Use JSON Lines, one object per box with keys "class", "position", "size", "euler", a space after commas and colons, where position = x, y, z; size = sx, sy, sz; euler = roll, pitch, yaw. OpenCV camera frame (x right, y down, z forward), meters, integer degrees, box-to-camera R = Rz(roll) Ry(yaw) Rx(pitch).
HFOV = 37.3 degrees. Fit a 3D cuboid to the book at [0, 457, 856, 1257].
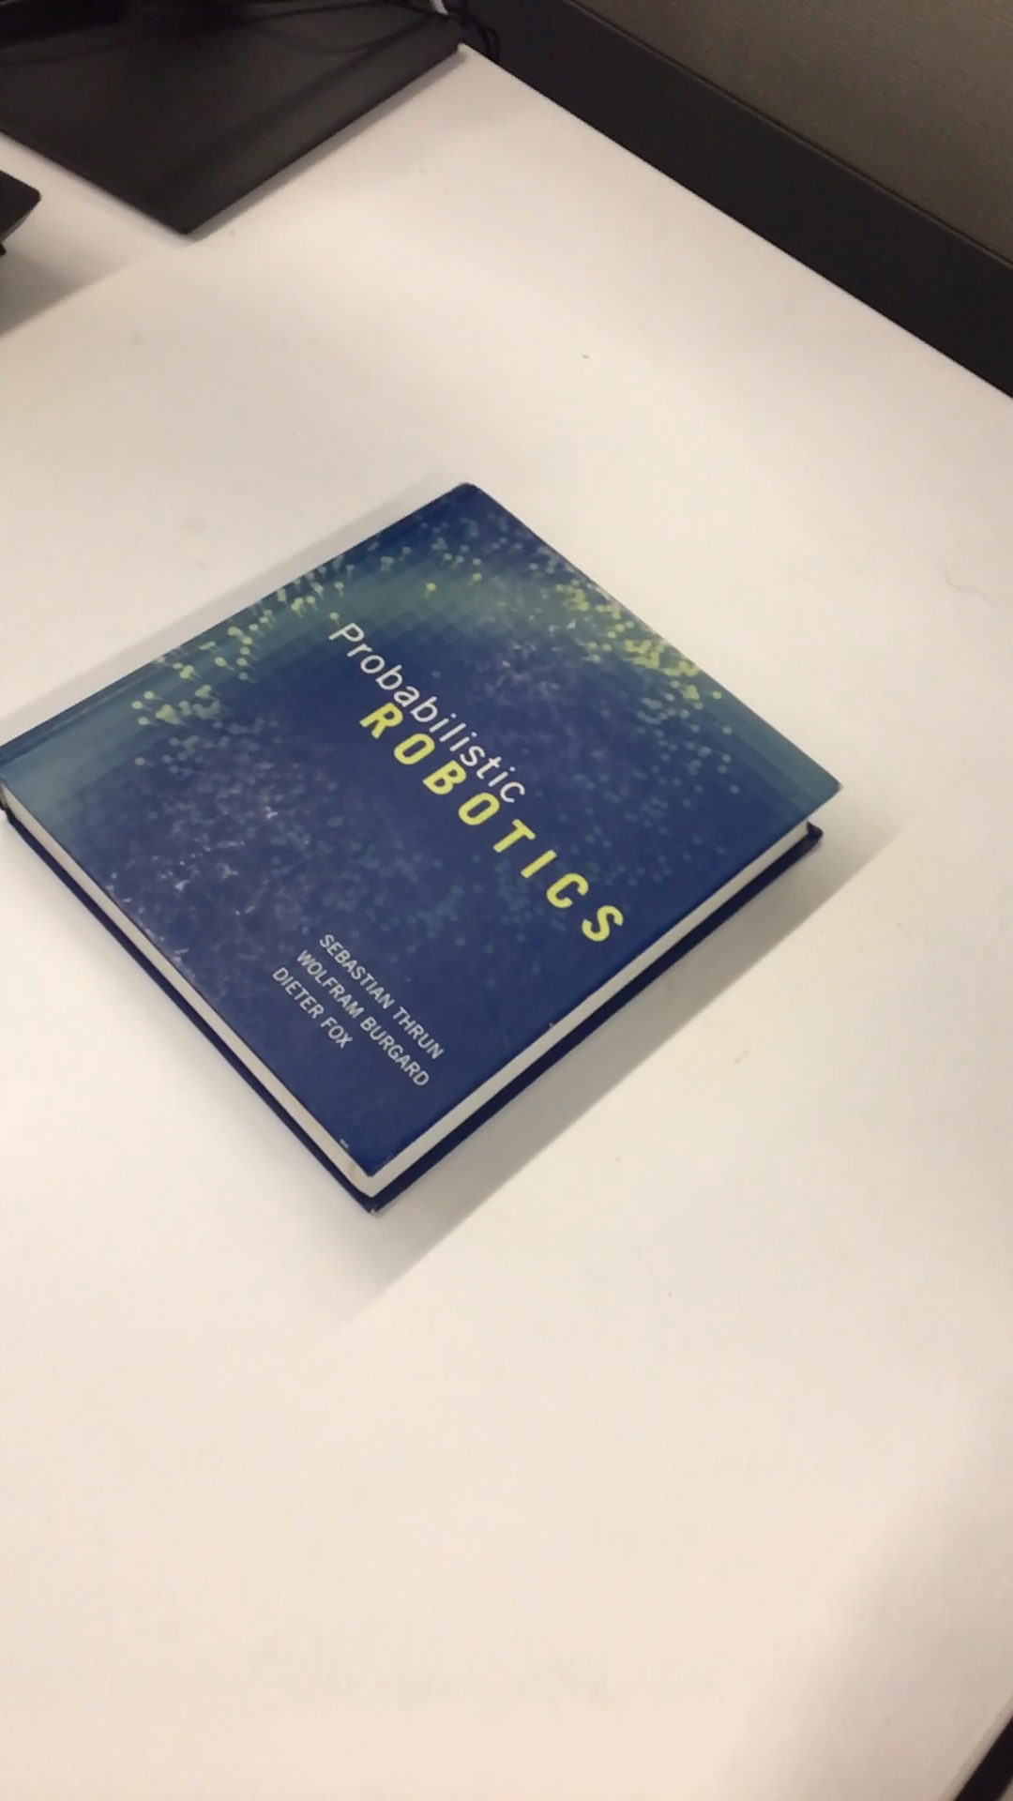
{"class": "book", "position": [-0.038, -0.035, 0.537], "size": [0.240, 0.030, 0.220], "euler": [-38, 69, -25]}
